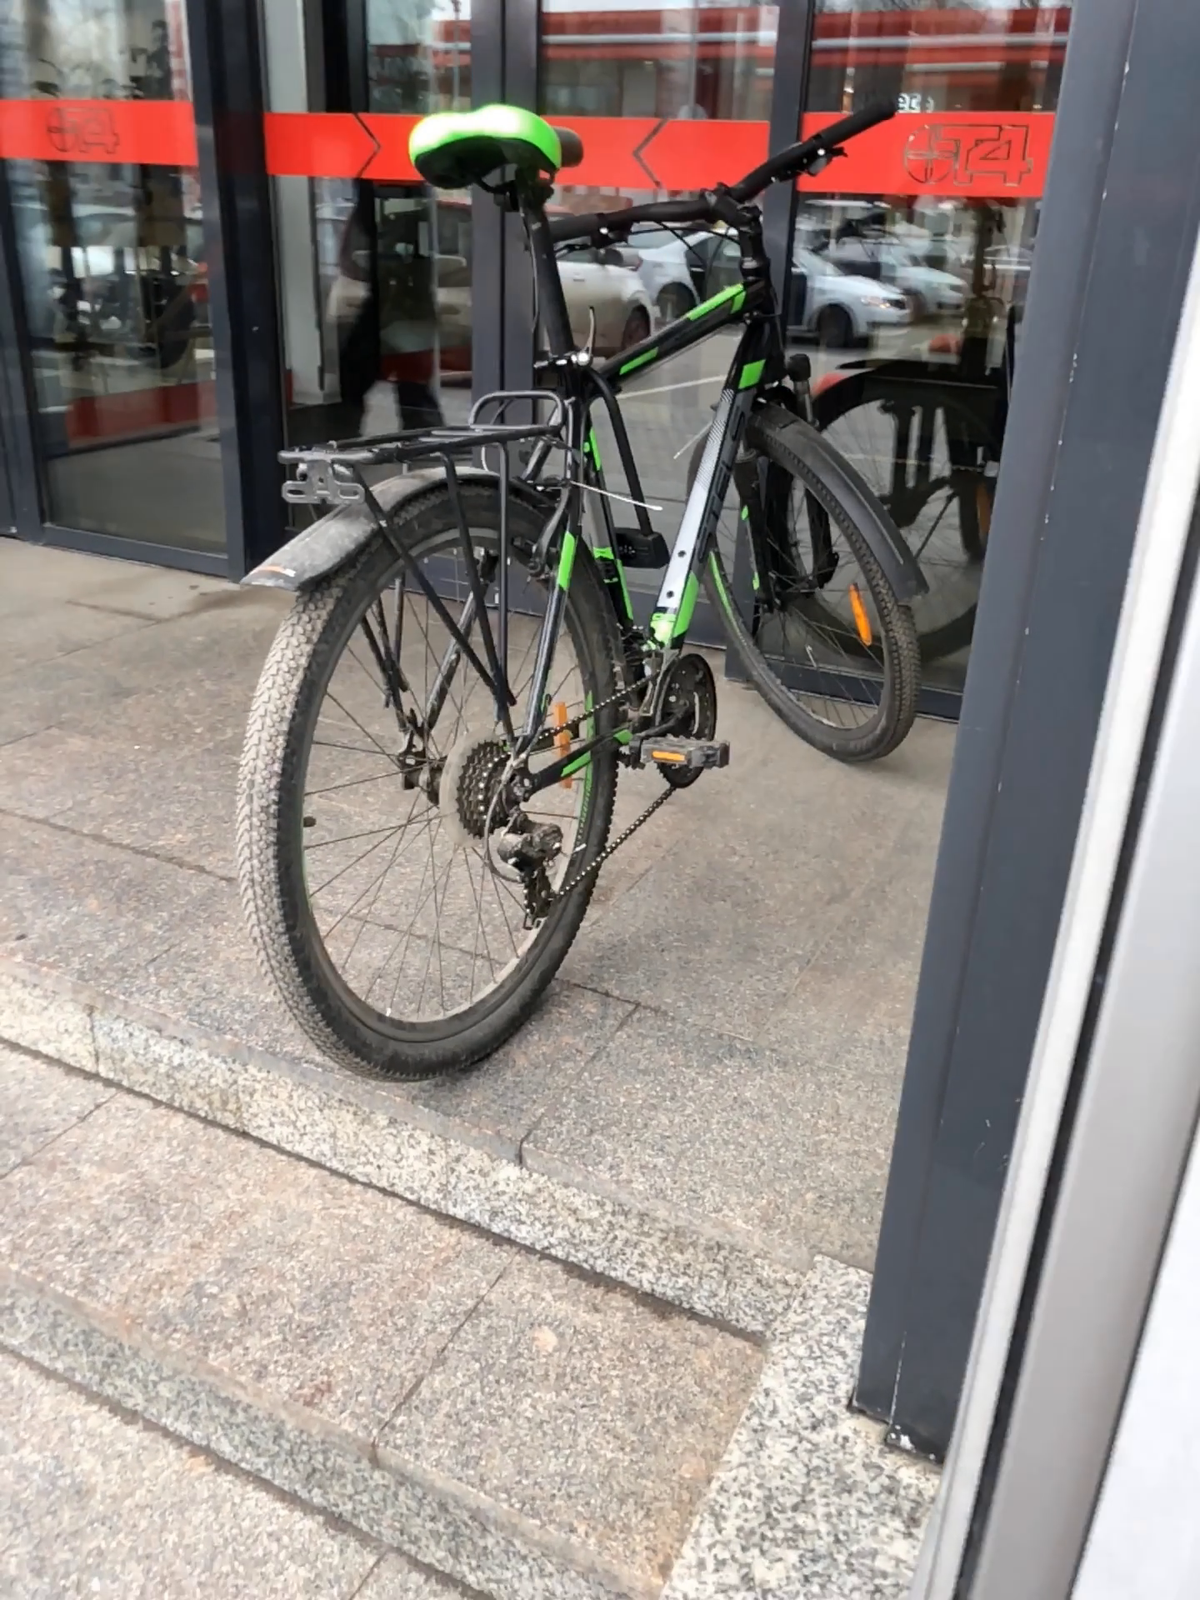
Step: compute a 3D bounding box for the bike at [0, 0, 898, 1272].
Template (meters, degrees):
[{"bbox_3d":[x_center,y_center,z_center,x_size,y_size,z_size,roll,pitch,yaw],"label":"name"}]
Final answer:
[{"bbox_3d":[-0.058,-0.377,1.803,0.629,1.052,1.551,10,24,16],"label":"bike"}]
